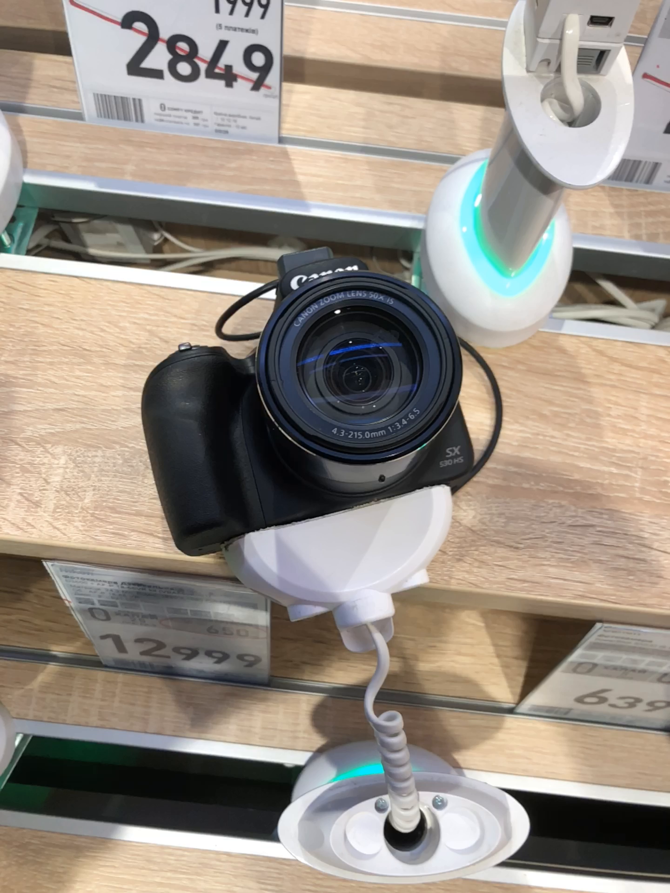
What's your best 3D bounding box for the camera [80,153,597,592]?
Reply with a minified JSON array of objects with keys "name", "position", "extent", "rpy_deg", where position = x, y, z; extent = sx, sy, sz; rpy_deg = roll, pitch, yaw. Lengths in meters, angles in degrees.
[{"name":"camera","position":[-0.003,-0.020,0.269],"extent":[0.133,0.091,0.107],"rpy_deg":[-14,78,-8]}]
